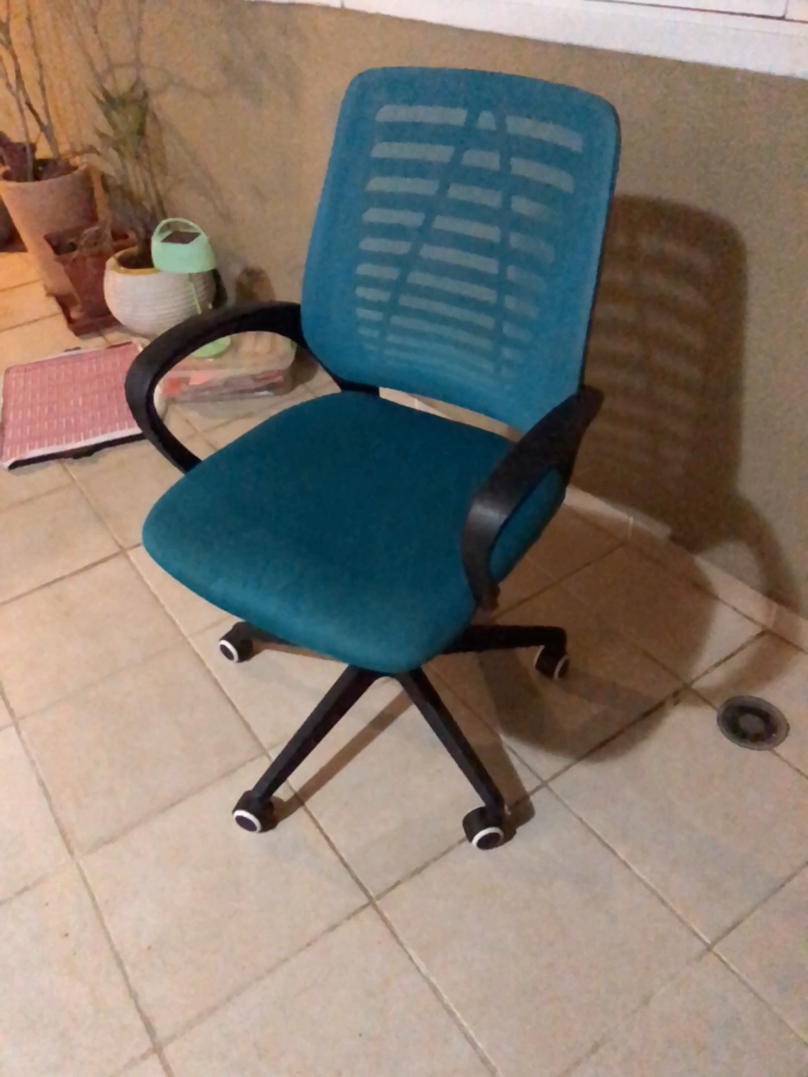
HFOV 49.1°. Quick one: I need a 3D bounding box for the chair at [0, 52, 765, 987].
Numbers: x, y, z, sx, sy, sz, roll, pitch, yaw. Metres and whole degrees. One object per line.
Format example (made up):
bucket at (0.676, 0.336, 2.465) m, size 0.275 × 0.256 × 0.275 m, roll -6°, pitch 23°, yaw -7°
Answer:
chair at (-0.049, -0.085, 1.278) m, size 0.712 × 0.923 × 0.744 m, roll 23°, pitch 47°, yaw 30°
